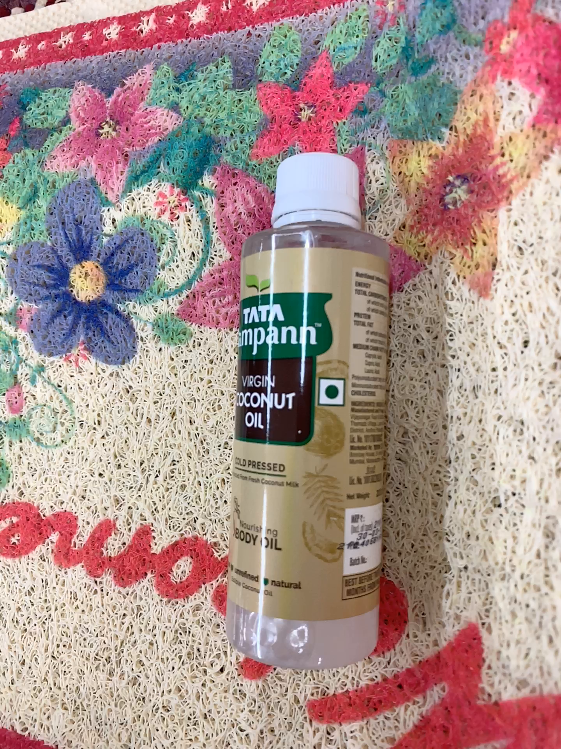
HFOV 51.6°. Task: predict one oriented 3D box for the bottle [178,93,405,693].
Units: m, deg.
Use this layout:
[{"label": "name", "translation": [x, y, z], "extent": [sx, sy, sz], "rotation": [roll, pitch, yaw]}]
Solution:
[{"label": "bottle", "translation": [0.003, 0.004, 0.163], "extent": [0.050, 0.030, 0.140], "rotation": [1, 88, 37]}]
